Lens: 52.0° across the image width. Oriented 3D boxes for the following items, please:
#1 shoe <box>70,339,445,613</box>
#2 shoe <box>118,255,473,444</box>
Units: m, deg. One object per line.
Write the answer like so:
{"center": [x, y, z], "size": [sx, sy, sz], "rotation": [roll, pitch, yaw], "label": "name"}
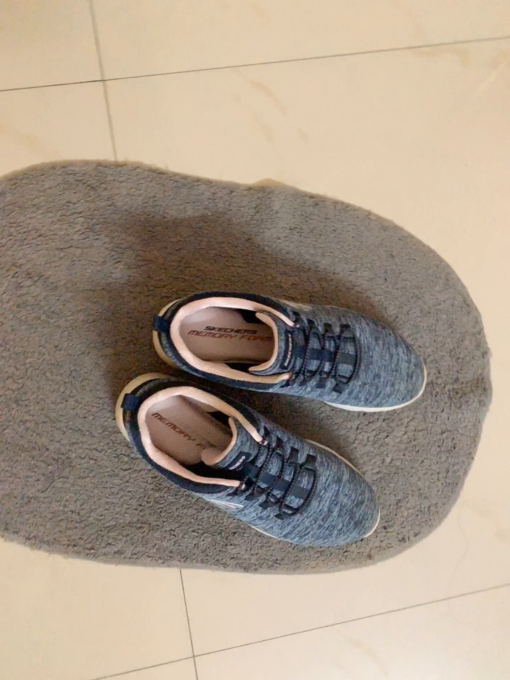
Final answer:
{"center": [0.001, 0.106, 0.439], "size": [0.270, 0.100, 0.090], "rotation": [28, 83, -3], "label": "shoe"}
{"center": [0.035, 0.011, 0.495], "size": [0.290, 0.100, 0.100], "rotation": [13, 88, -4], "label": "shoe"}
